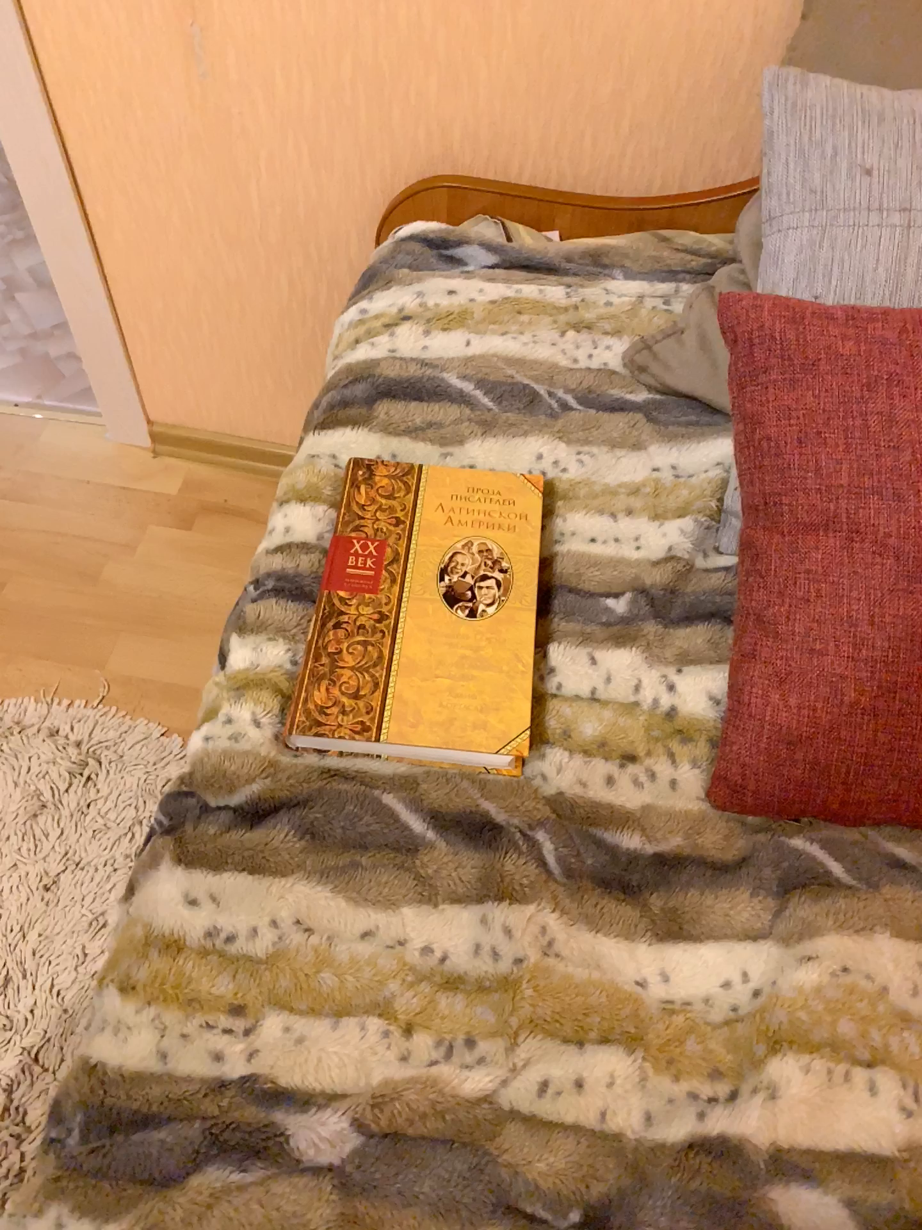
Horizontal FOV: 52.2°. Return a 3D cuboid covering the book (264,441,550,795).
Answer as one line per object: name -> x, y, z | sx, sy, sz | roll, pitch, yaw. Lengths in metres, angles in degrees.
book -> -0.030, -0.008, 0.730 | 0.180, 0.060, 0.272 | 6, 55, 1
